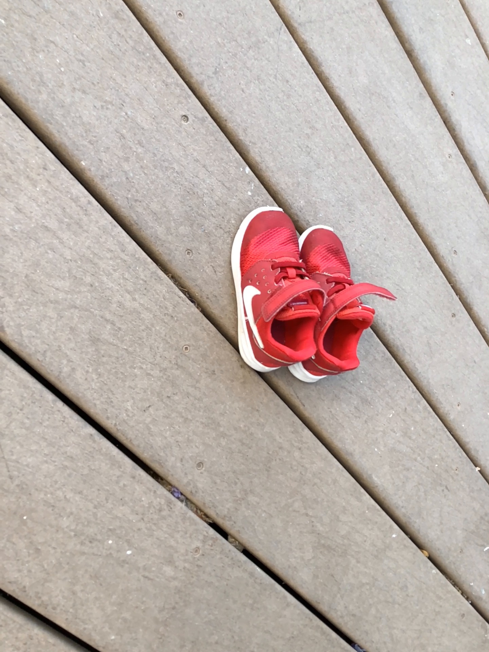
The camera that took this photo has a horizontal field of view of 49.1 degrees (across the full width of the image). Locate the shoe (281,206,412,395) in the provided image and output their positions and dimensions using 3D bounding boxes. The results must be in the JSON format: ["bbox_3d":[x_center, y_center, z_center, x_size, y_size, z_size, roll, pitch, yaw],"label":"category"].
[{"bbox_3d":[0.100,-0.021,0.533,0.078,0.087,0.167,7,86,-33],"label":"shoe"}]

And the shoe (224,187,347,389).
[{"bbox_3d":[0.037,-0.032,0.500,0.078,0.087,0.167,0,90,-33],"label":"shoe"}]
